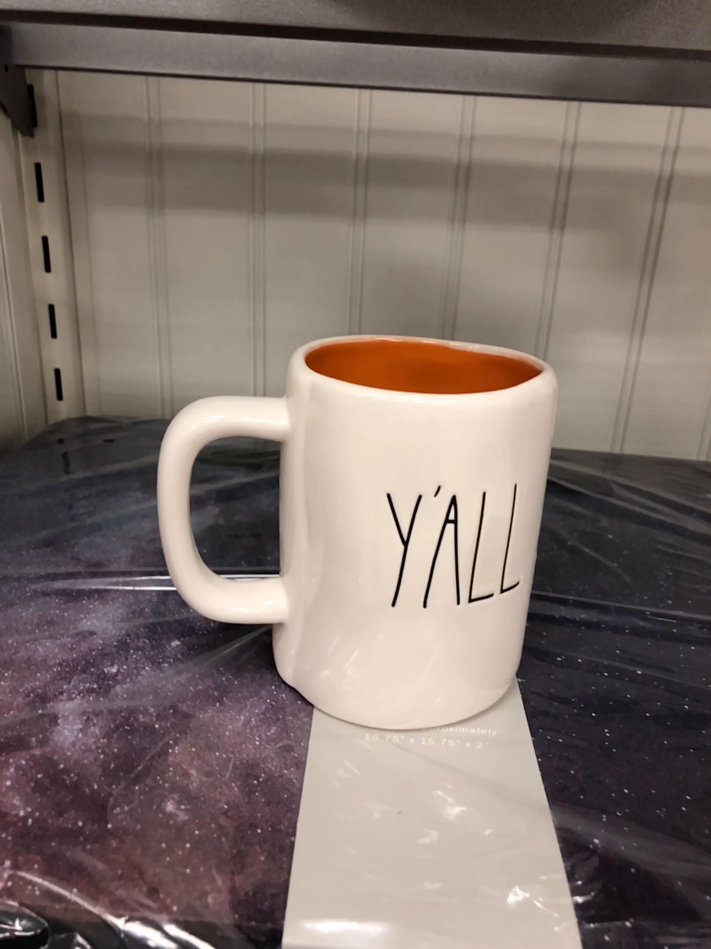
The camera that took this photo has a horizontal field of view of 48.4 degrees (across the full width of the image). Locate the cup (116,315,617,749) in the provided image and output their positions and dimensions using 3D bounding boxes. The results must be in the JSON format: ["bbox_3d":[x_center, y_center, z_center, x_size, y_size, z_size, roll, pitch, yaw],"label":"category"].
[{"bbox_3d":[-0.003,0.014,0.281,0.140,0.119,0.091,-1,23,-9],"label":"cup"}]
